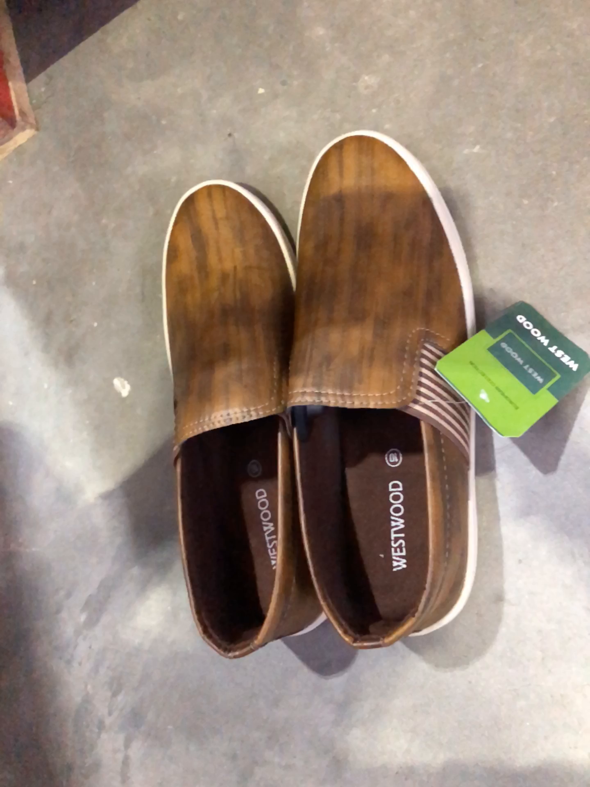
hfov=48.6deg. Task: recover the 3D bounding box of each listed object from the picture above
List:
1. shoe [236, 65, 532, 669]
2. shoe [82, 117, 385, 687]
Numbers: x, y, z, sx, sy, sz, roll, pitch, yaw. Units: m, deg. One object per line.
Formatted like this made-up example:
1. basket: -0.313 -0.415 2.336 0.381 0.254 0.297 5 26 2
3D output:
1. shoe: 0.051 -0.010 0.374 0.110 0.100 0.290 -10 80 24
2. shoe: -0.037 0.006 0.394 0.100 0.100 0.290 -15 78 23
